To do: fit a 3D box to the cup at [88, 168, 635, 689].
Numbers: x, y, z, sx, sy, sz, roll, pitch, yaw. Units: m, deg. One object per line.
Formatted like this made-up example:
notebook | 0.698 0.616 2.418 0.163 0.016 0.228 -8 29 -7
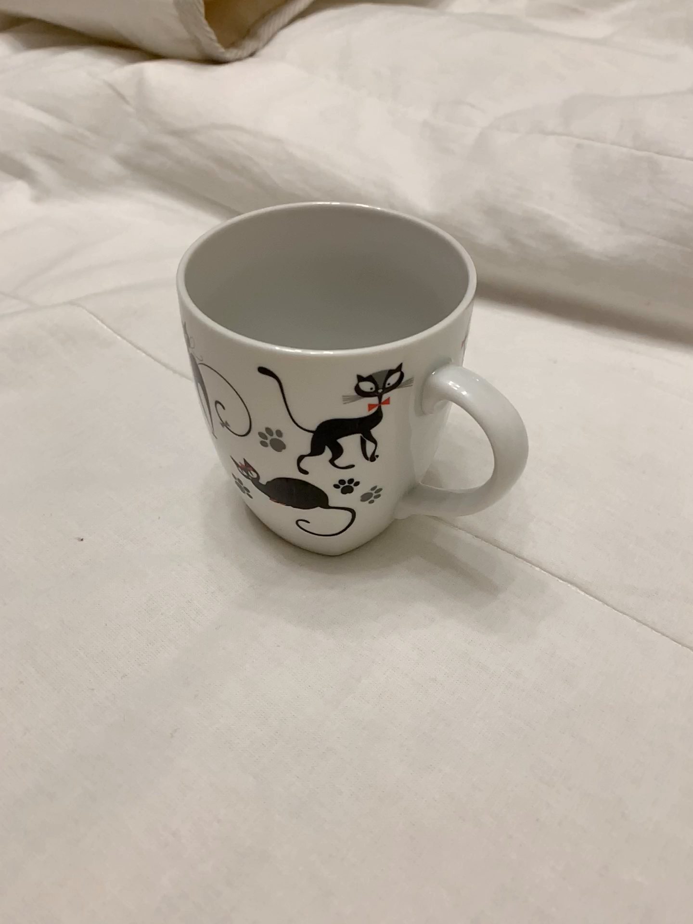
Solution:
cup | -0.001 -0.019 0.209 0.081 0.077 0.119 -32 50 -27
